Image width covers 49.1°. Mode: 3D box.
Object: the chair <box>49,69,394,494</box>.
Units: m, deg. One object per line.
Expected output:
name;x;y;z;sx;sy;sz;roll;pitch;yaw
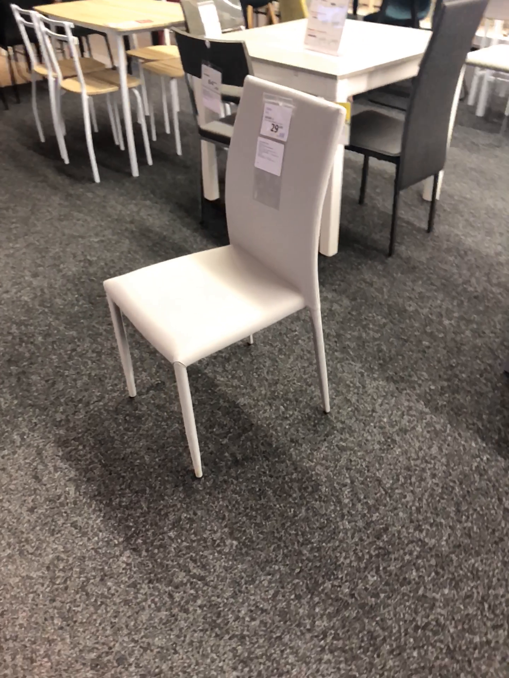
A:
chair;-0.071;-0.161;1.421;0.542;0.815;0.501;-25;43;-27
